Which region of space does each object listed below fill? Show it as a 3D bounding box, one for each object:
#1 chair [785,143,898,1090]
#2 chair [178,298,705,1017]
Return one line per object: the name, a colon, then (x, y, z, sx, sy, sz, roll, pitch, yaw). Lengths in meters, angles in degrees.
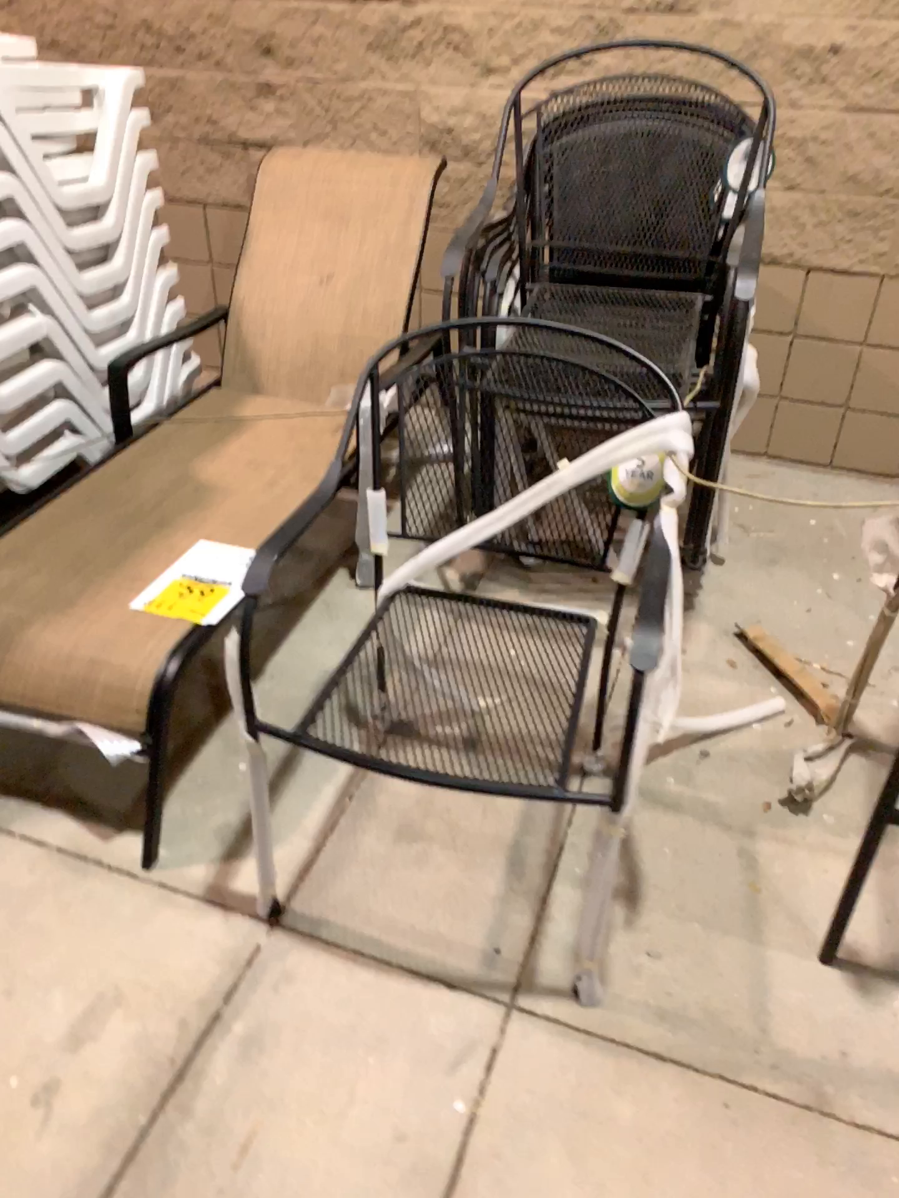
chair: (0.974, -0.006, 1.373, 0.634, 1.128, 0.712, 11, 34, 15)
chair: (0.037, 0.061, 1.470, 0.574, 0.869, 0.641, 9, 33, 11)
